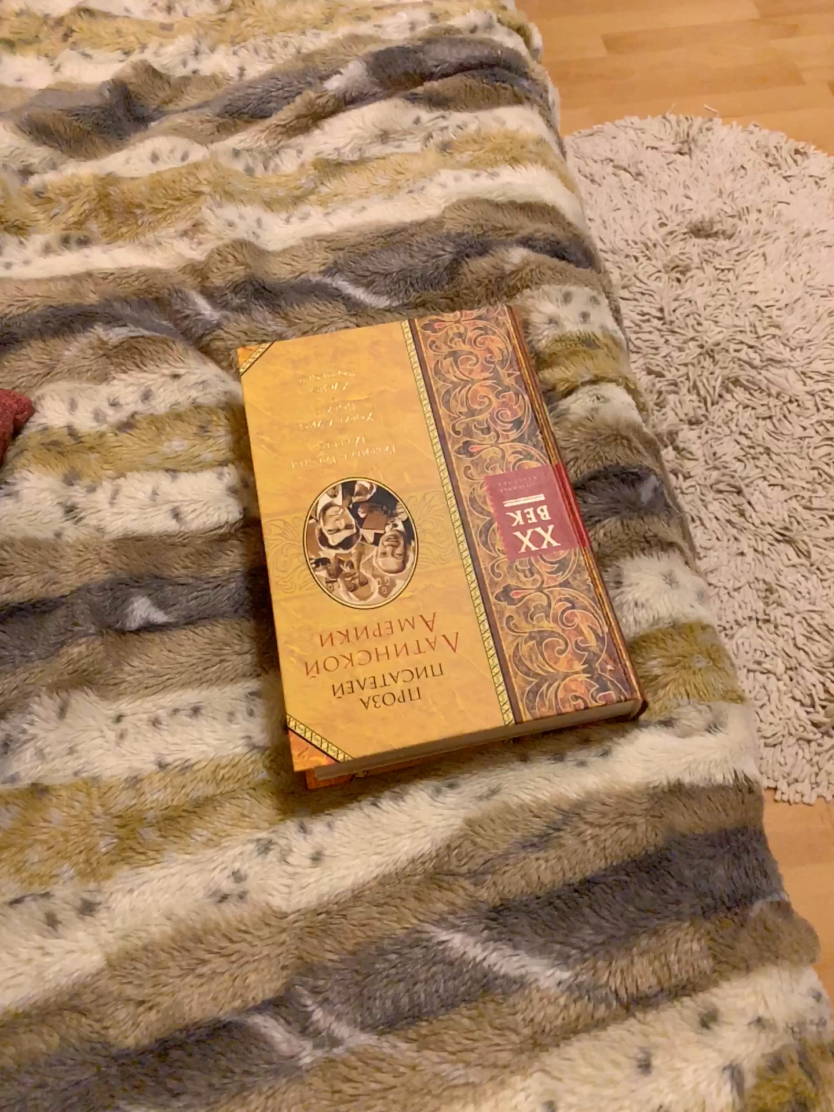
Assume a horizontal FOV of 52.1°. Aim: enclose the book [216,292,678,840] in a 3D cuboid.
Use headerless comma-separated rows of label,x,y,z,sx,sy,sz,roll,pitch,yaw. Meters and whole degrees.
book,0.001,-0.009,0.461,0.180,0.060,0.271,-11,62,-5
